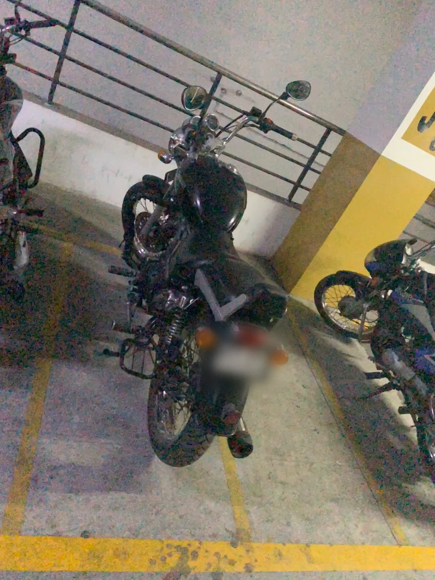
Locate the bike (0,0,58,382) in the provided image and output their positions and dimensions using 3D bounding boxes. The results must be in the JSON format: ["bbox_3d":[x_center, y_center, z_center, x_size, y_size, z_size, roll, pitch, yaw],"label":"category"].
[{"bbox_3d":[-1.290,-0.772,1.979,0.720,1.277,1.570,15,34,-26],"label":"bike"}]

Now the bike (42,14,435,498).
[{"bbox_3d":[-0.220,-0.273,2.093,0.853,1.232,1.804,13,32,-29],"label":"bike"}]
